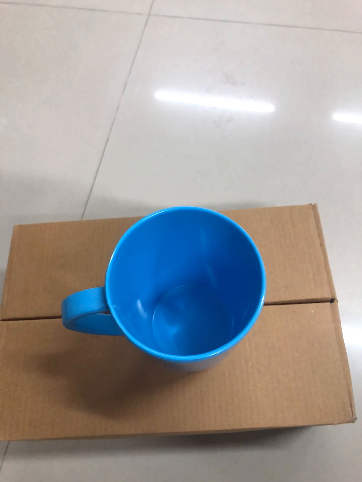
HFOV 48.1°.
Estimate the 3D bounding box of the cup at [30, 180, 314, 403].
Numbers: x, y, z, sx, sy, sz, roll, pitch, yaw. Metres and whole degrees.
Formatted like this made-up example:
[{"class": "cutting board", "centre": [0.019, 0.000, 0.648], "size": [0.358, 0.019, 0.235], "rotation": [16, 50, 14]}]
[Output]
[{"class": "cup", "centre": [-0.007, 0.035, 0.230], "size": [0.120, 0.090, 0.080], "rotation": [-12, 65, -2]}]
